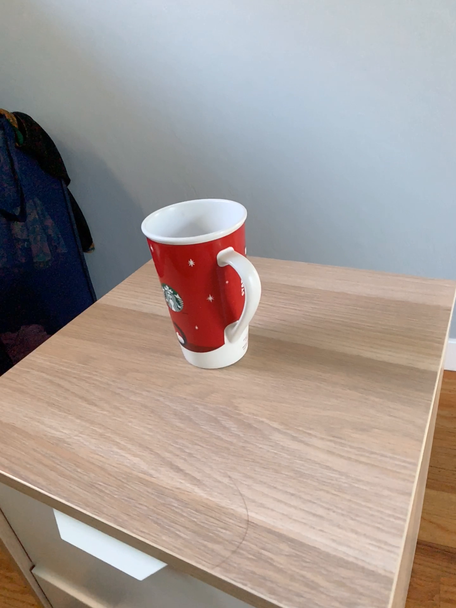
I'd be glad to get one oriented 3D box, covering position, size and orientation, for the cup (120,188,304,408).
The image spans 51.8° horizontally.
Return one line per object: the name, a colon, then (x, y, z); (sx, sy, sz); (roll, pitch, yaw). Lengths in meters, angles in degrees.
cup: (-0.011, -0.011, 0.430); (0.131, 0.149, 0.080); (23, 44, 40)
